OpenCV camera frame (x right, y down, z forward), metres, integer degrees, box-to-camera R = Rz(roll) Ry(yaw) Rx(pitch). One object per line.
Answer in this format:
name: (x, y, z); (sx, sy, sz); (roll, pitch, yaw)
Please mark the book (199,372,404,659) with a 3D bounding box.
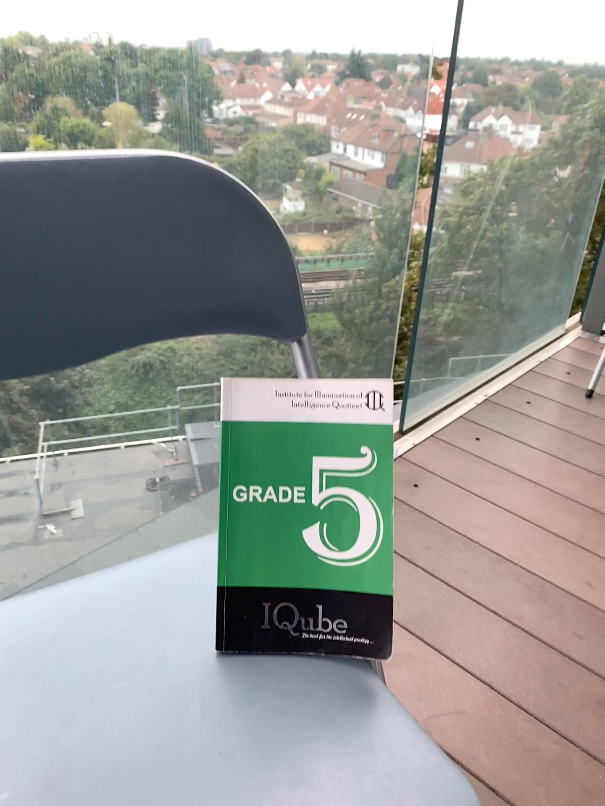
book: (0.000, 0.083, 0.484); (0.150, 0.210, 0.040); (0, -4, 3)
